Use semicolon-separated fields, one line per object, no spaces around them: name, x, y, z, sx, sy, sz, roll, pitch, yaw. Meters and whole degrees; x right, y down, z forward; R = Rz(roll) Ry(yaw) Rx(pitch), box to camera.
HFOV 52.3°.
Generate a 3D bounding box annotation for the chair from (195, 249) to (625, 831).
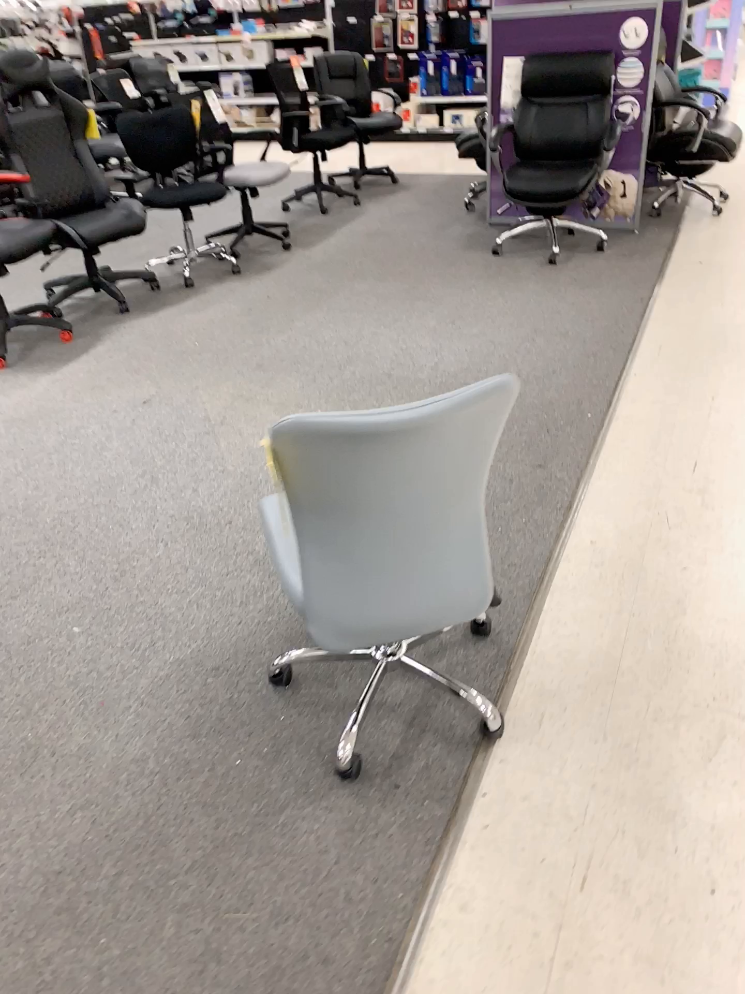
chair;0.028;0.062;1.542;0.600;0.875;0.654;-9;34;-7
